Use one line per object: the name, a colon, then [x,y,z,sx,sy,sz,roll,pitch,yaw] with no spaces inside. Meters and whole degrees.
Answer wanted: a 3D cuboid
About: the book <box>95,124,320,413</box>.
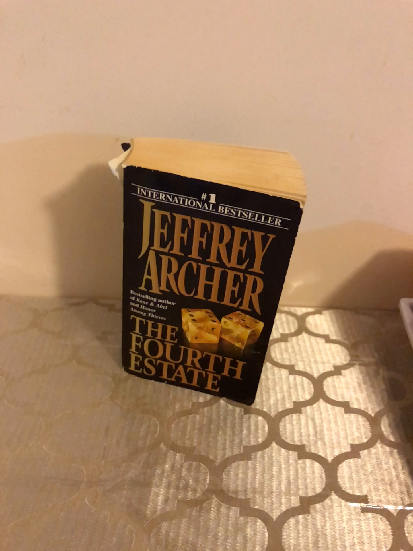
book: [-0.004,-0.001,0.314,0.120,0.169,0.060,12,34,8]
